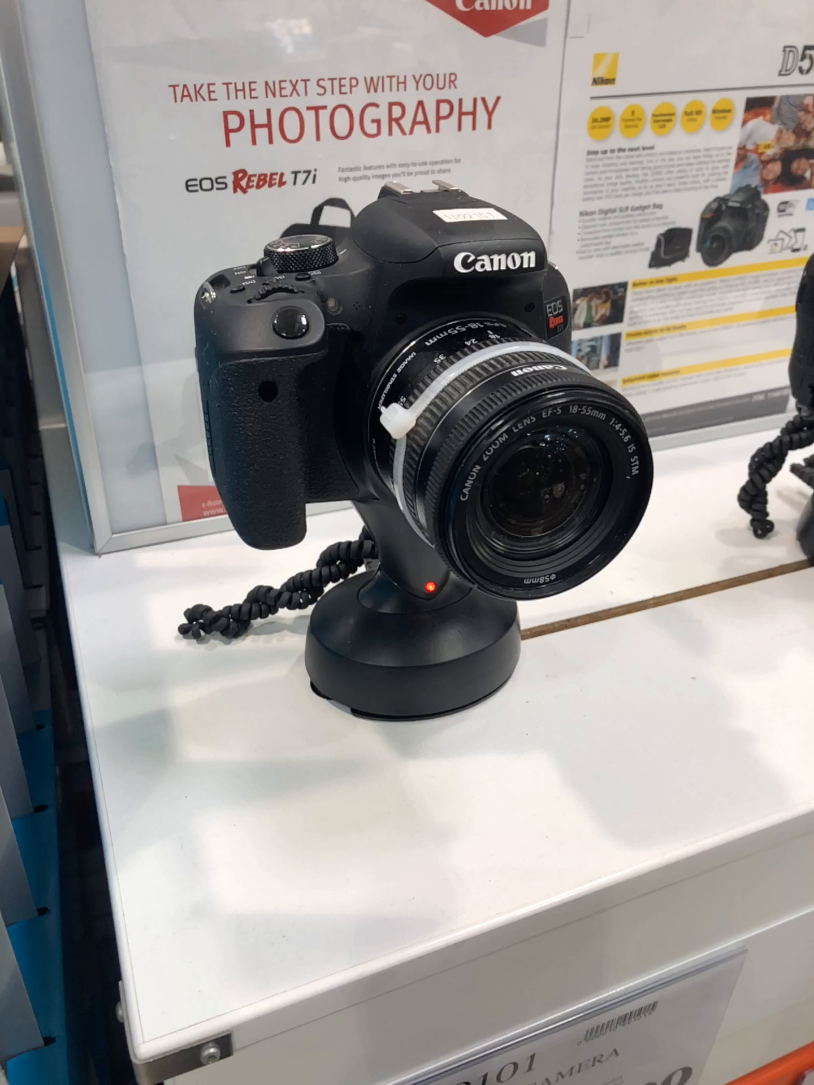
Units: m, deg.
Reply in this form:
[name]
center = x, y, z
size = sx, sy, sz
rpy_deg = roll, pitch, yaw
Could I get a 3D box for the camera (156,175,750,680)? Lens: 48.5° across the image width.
[camera]
center = 0.001, -0.054, 0.303
size = 0.130, 0.100, 0.151
rpy_deg = -12, 34, -20
